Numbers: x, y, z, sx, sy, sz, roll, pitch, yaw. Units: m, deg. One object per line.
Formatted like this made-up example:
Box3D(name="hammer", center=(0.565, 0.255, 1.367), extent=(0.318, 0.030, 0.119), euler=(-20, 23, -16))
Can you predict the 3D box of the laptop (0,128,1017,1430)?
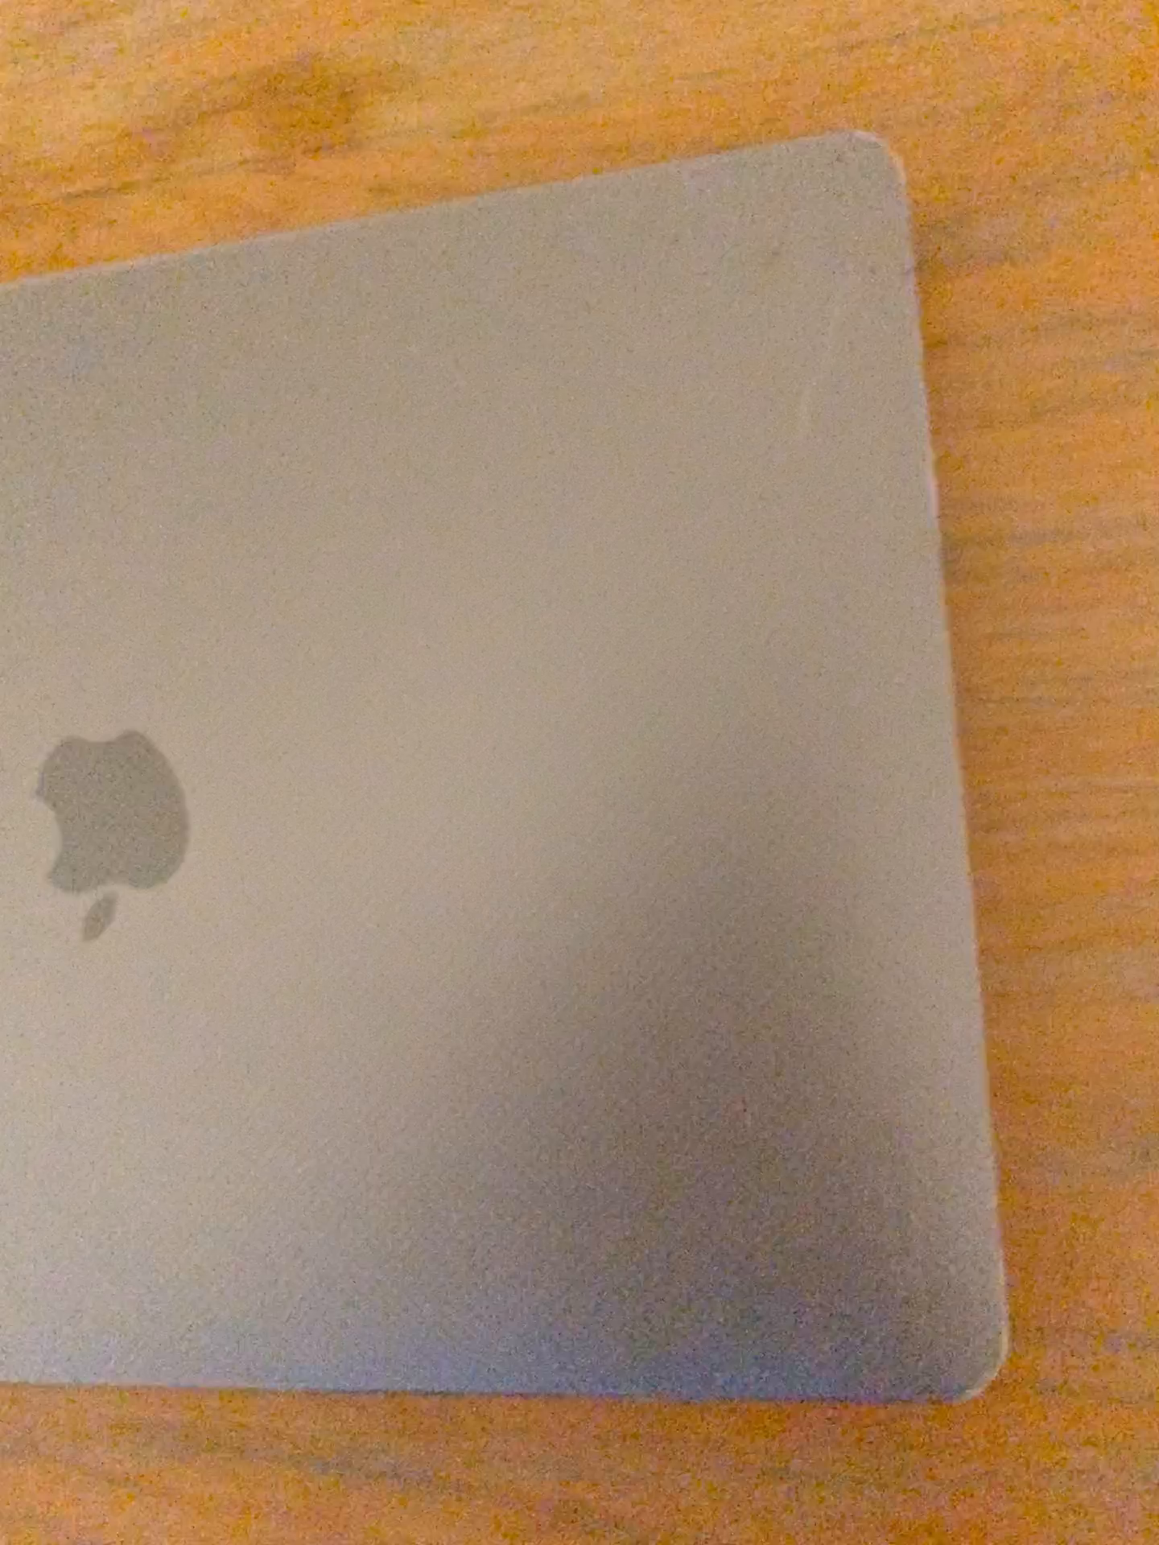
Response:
Box3D(name="laptop", center=(-0.081, 0.009, 0.233), extent=(0.292, 0.005, 0.210), euler=(-5, 88, 13))
